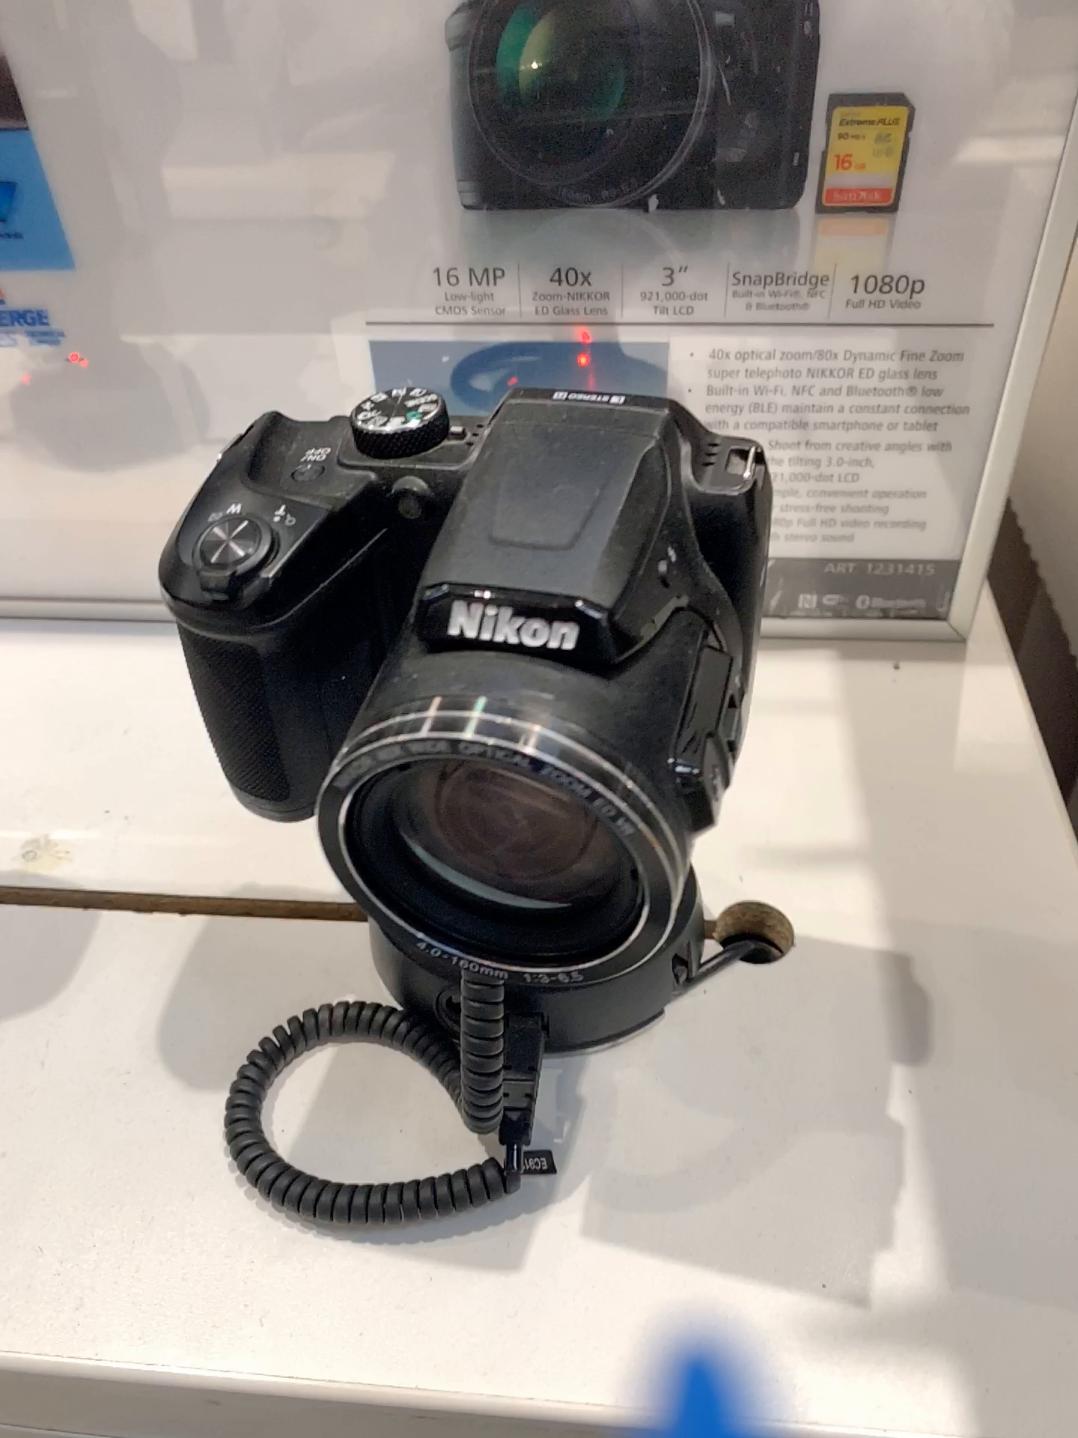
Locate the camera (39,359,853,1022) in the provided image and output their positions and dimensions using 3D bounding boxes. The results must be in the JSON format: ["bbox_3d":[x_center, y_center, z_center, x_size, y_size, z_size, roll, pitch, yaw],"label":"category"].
[{"bbox_3d":[-0.008,-0.005,0.198,0.110,0.089,0.061,6,42,9],"label":"camera"}]
